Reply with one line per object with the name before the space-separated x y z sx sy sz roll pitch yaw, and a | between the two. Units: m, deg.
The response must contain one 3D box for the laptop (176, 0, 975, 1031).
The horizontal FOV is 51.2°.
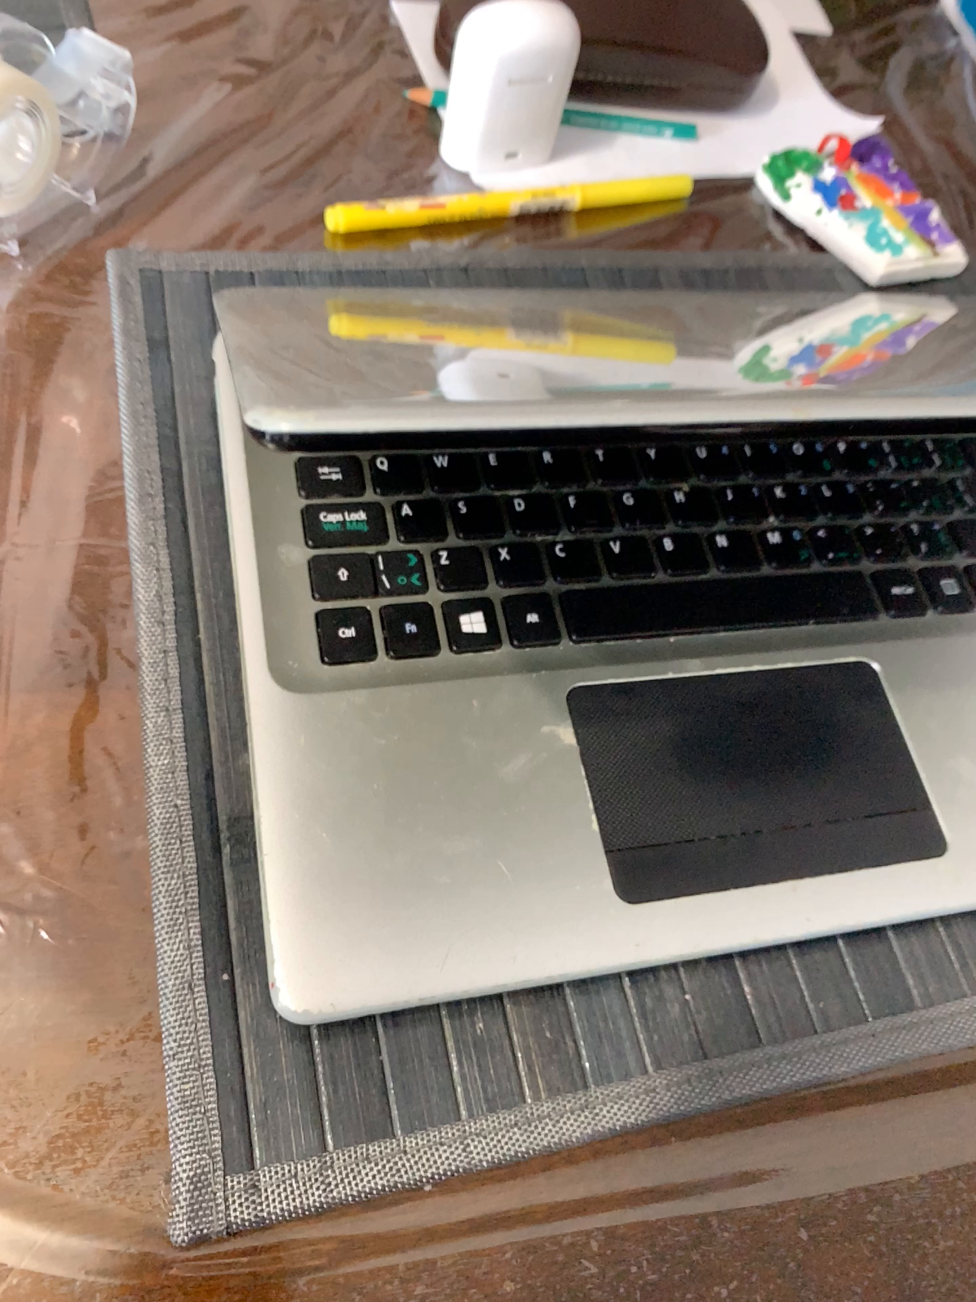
laptop | 0.105 -0.060 0.280 0.344 0.145 0.236 -4 61 -15
